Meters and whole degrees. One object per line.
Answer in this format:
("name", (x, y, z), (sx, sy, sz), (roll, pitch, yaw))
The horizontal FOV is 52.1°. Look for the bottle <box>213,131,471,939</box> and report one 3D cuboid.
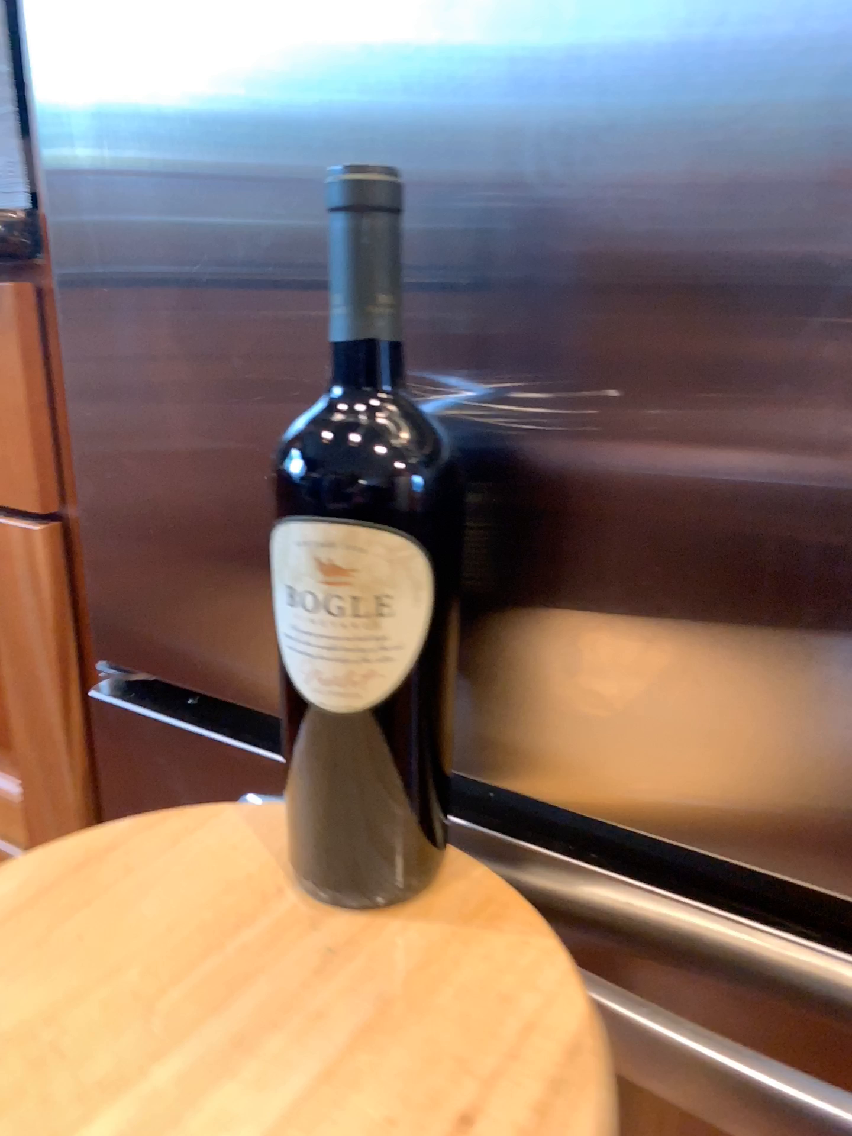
("bottle", (-0.029, -0.006, 0.378), (0.080, 0.319, 0.080), (1, 16, 0))
